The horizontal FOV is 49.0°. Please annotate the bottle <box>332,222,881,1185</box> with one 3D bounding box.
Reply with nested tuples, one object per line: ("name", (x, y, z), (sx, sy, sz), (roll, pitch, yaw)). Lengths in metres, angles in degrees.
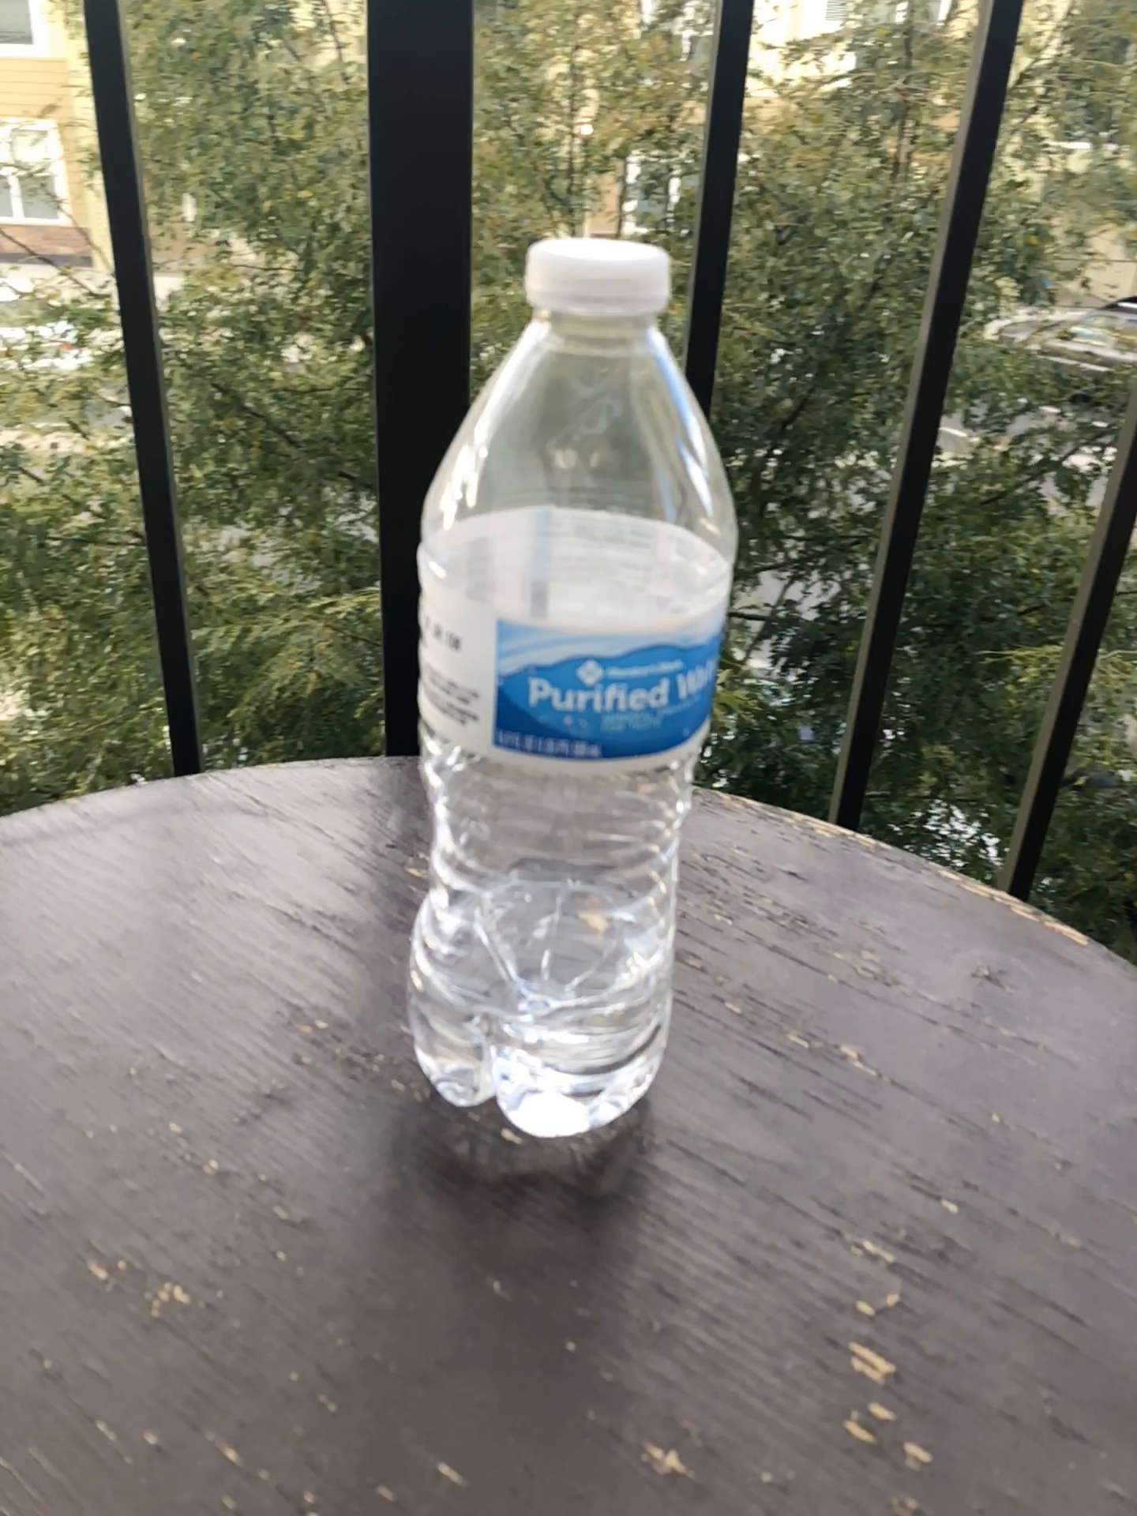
("bottle", (-0.001, -0.012, 0.279), (0.075, 0.189, 0.080), (2, 29, -1))
